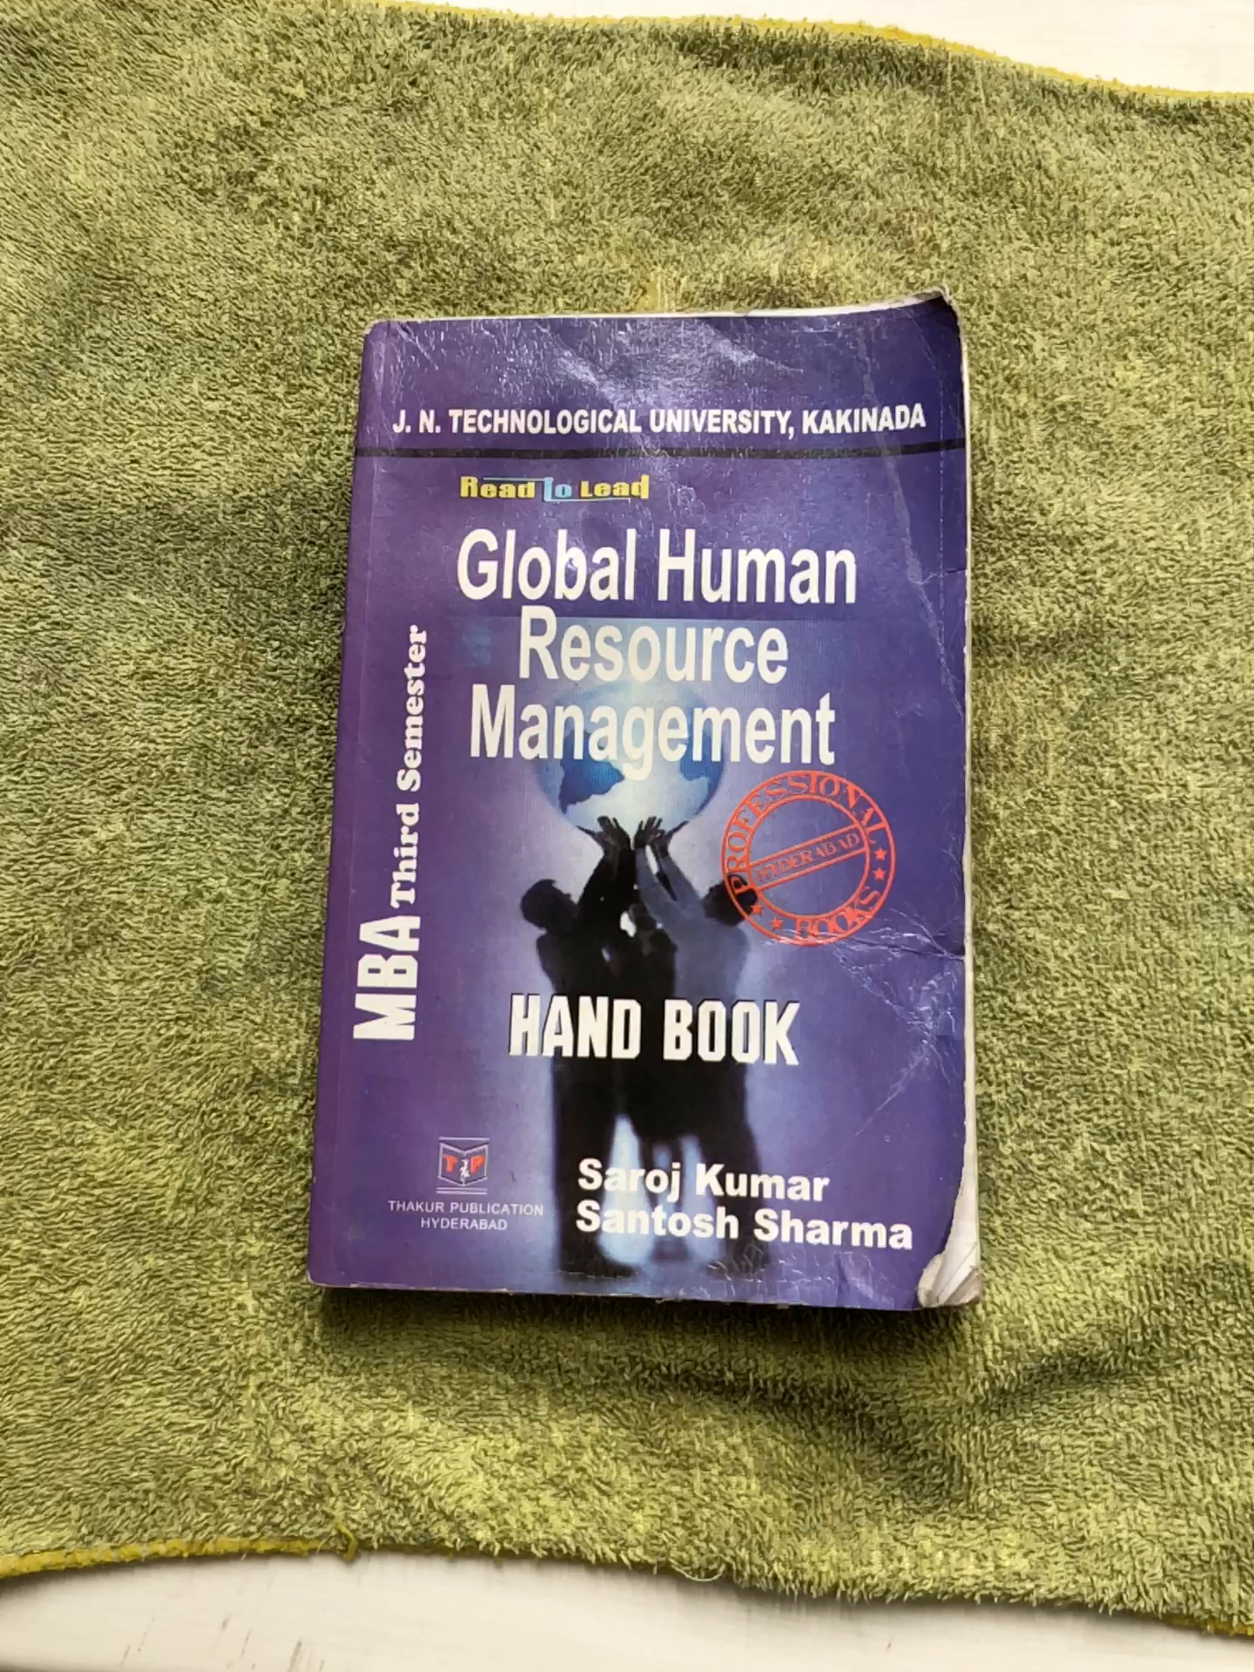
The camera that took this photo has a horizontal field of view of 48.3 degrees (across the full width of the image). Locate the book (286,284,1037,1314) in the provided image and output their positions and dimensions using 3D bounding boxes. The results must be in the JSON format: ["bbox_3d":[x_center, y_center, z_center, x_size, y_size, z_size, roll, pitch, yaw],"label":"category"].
[{"bbox_3d":[0.009,-0.010,0.293,0.140,0.040,0.200,1,83,4],"label":"book"}]
